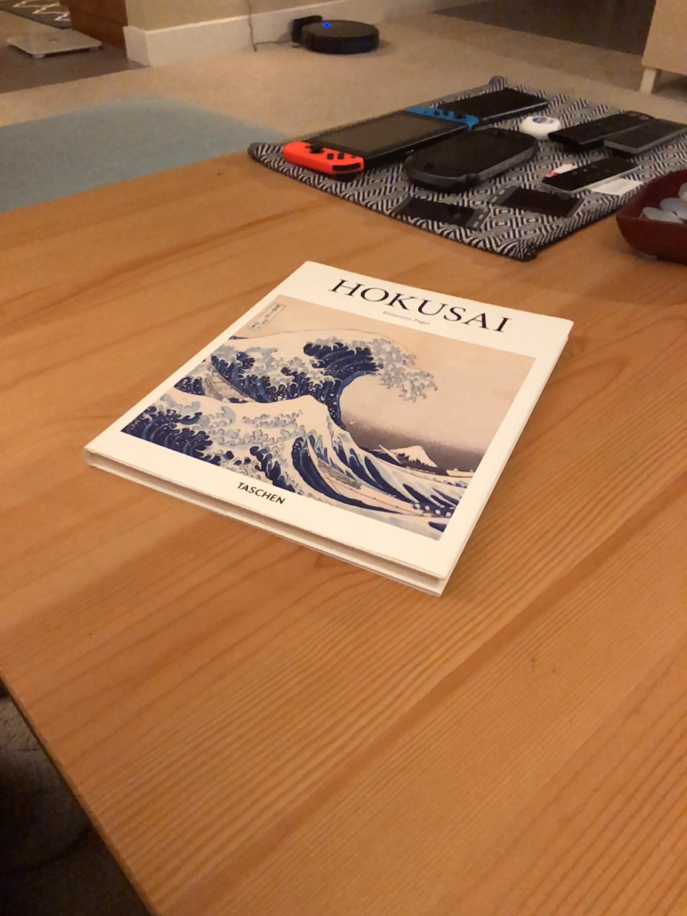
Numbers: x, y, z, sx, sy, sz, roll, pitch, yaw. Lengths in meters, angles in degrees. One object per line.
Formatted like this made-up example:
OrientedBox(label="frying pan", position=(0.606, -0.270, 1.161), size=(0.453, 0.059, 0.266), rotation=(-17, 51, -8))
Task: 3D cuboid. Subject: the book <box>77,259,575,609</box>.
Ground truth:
OrientedBox(label="book", position=(0.006, -0.041, 0.467), size=(0.210, 0.020, 0.253), rotation=(18, 43, 19))
